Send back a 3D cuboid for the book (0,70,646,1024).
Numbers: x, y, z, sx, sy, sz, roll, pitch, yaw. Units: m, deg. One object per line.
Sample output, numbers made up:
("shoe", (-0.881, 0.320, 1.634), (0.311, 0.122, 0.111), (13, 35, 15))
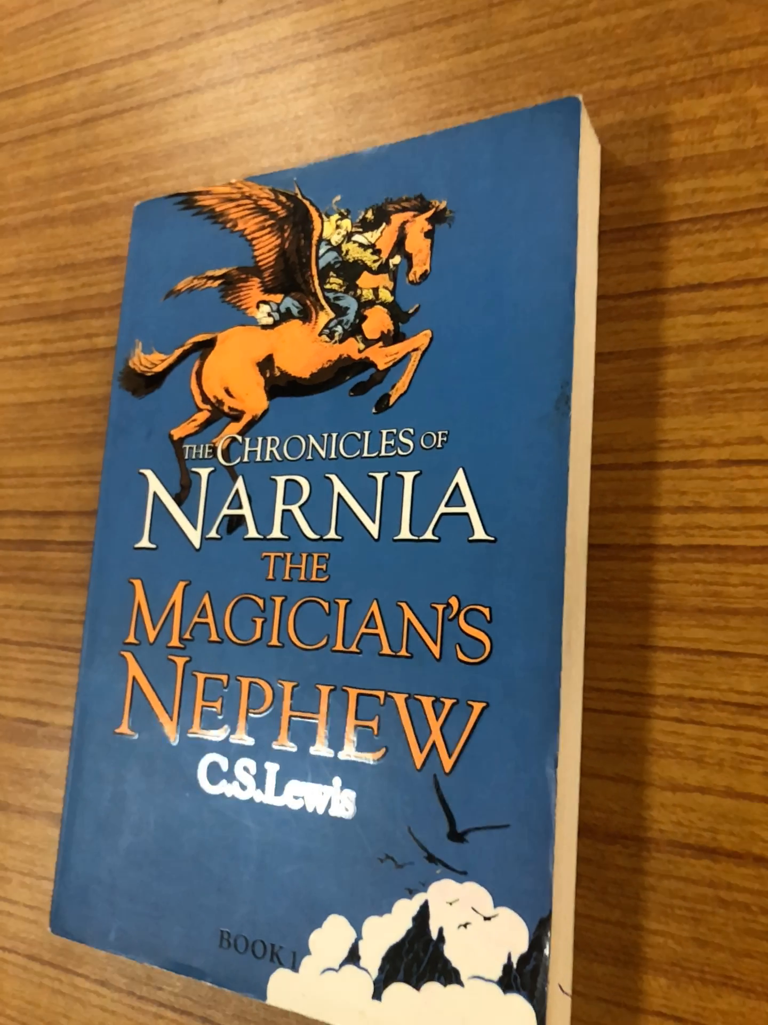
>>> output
("book", (-0.017, 0.011, 0.200), (0.141, 0.030, 0.190), (-1, 80, 28))
